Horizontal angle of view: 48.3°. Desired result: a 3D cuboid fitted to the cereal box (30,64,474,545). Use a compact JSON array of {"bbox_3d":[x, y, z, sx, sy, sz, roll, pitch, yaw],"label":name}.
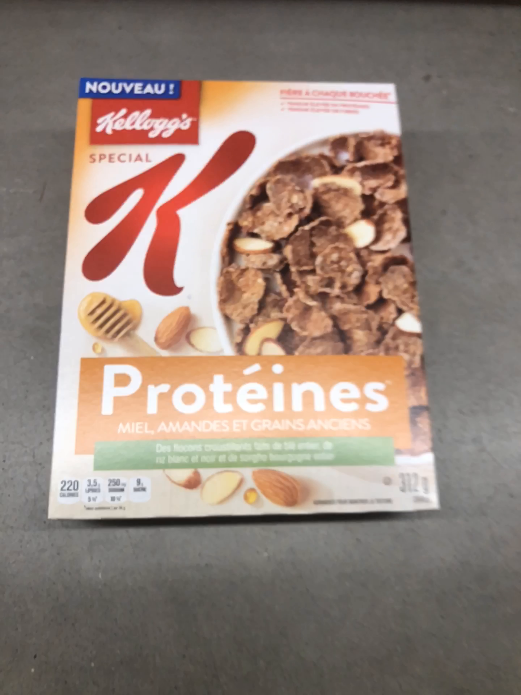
[{"bbox_3d":[-0.007,-0.030,0.317,0.200,0.050,0.251,-1,76,-3],"label":"cereal box"}]
